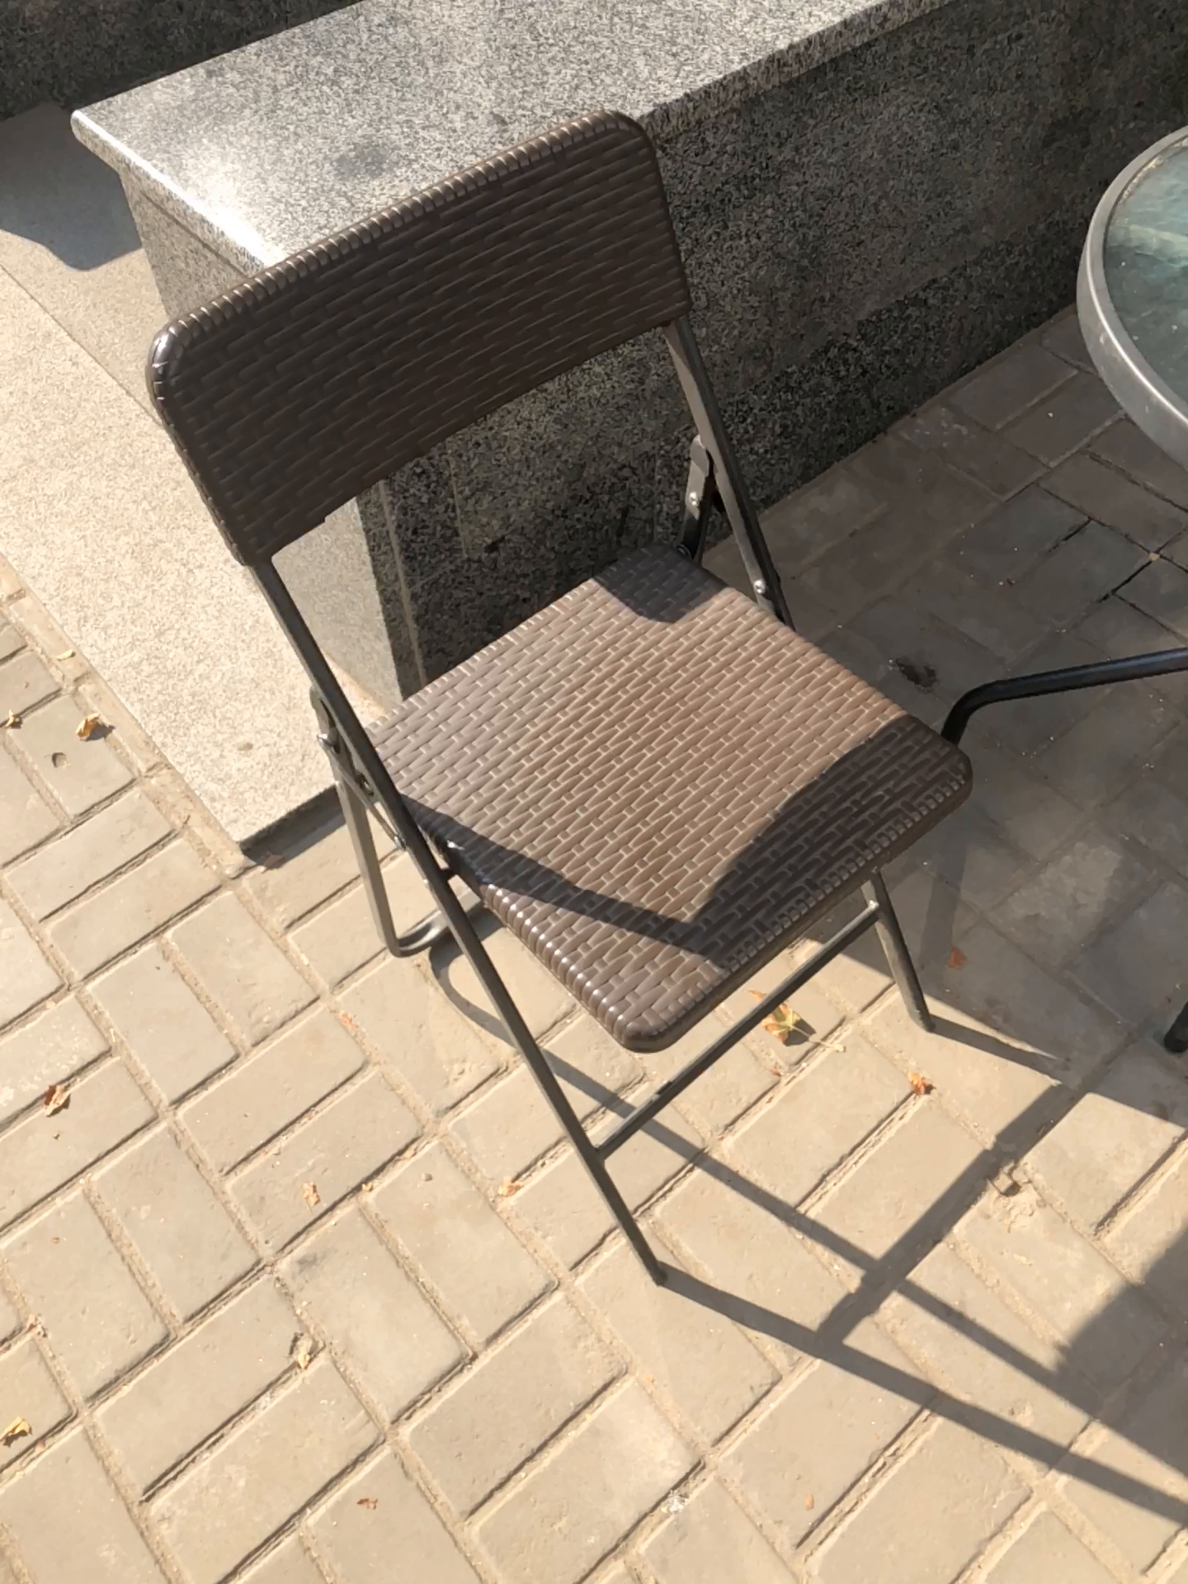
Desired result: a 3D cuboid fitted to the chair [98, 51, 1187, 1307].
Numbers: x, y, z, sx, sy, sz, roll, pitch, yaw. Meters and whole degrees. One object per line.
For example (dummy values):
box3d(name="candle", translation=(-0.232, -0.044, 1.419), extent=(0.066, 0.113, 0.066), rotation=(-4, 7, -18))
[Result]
box3d(name="chair", translation=(0.043, -0.030, 1.037), extent=(0.431, 0.788, 0.461), rotation=(-37, 60, -23))
